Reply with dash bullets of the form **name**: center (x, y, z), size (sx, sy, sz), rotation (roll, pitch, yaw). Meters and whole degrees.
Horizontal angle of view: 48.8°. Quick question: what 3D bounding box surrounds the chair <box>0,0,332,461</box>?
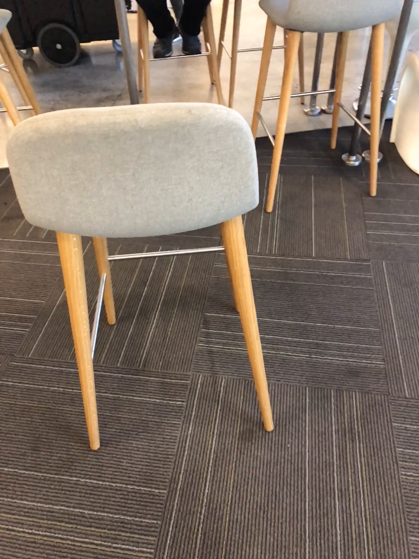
- **chair**: center (-0.133, -0.094, 1.116), size (0.570, 0.945, 0.563), rotation (-6, 42, -3)
